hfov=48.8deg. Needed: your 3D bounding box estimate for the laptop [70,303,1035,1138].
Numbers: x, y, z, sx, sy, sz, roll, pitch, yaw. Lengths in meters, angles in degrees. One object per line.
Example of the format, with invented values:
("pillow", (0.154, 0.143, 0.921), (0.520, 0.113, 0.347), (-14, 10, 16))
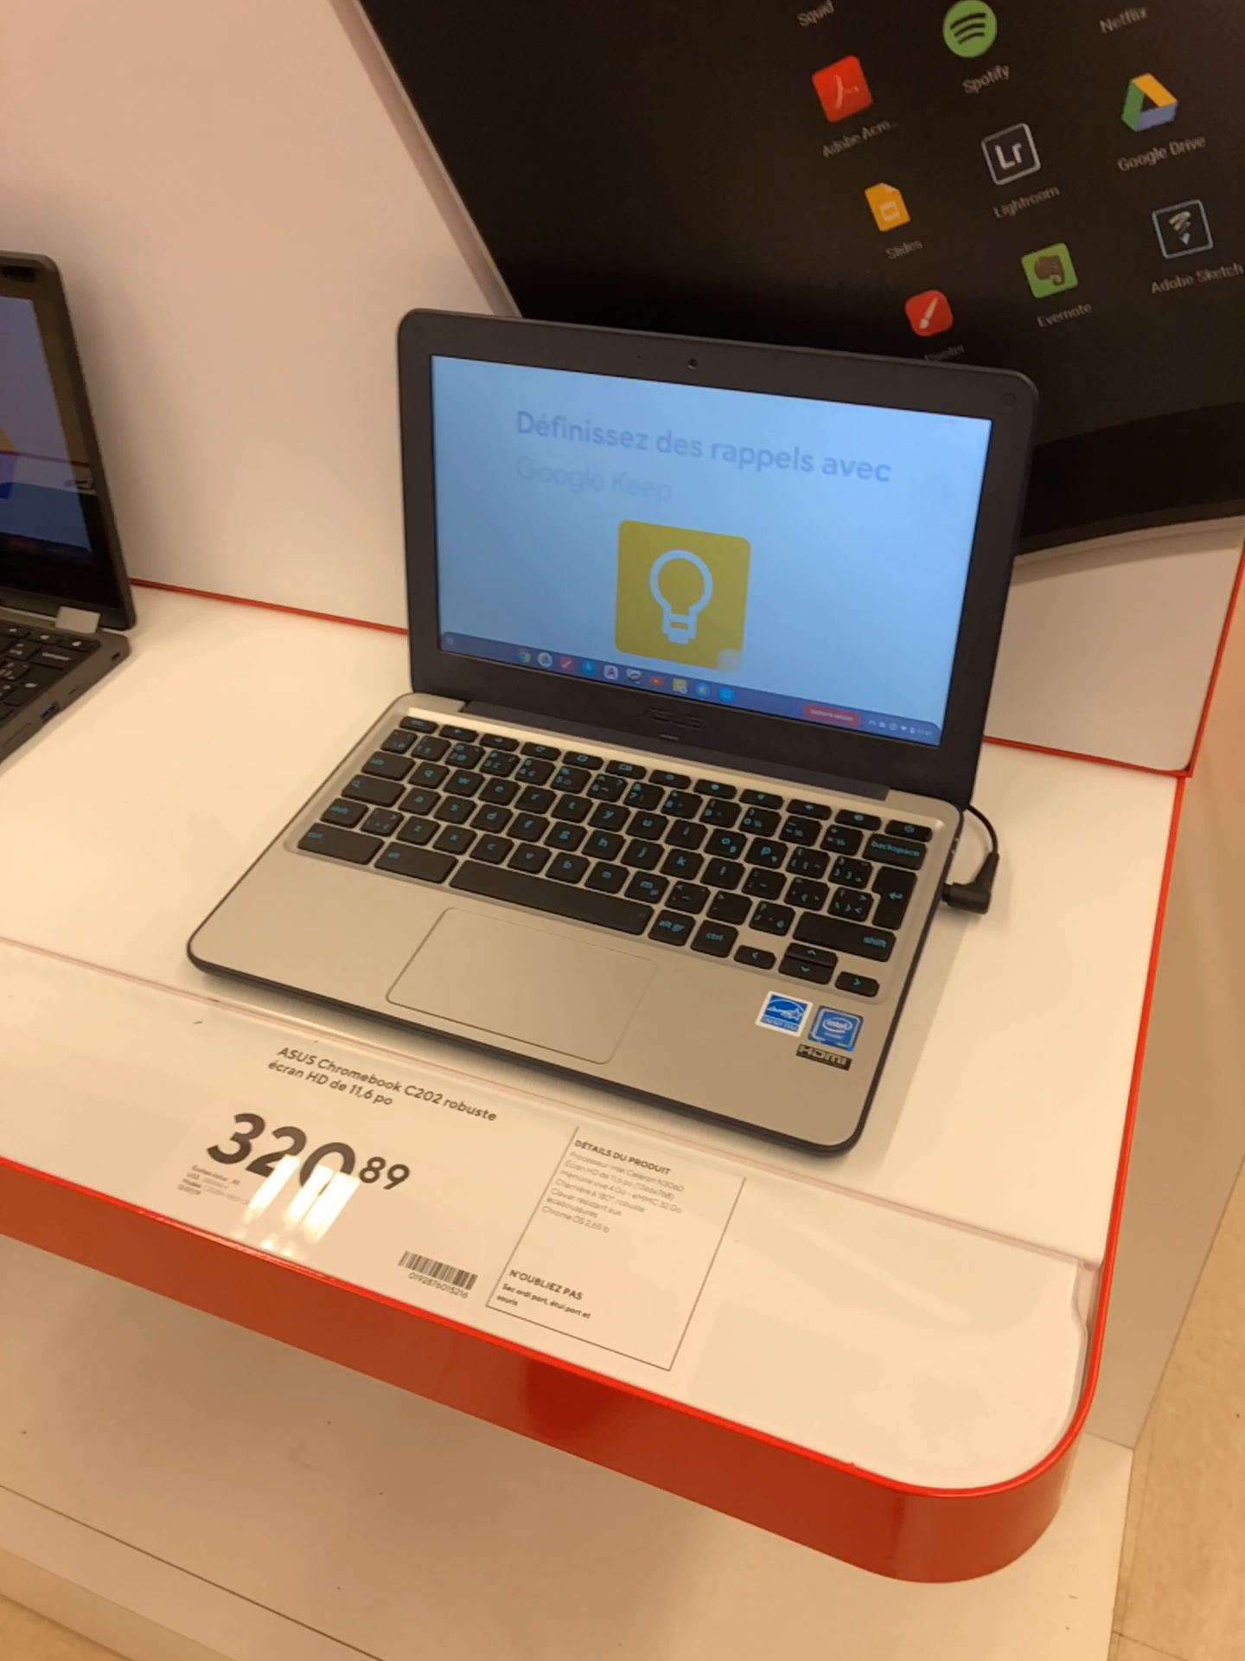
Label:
("laptop", (-0.008, -0.063, 0.546), (0.275, 0.174, 0.231), (13, 45, 18))
